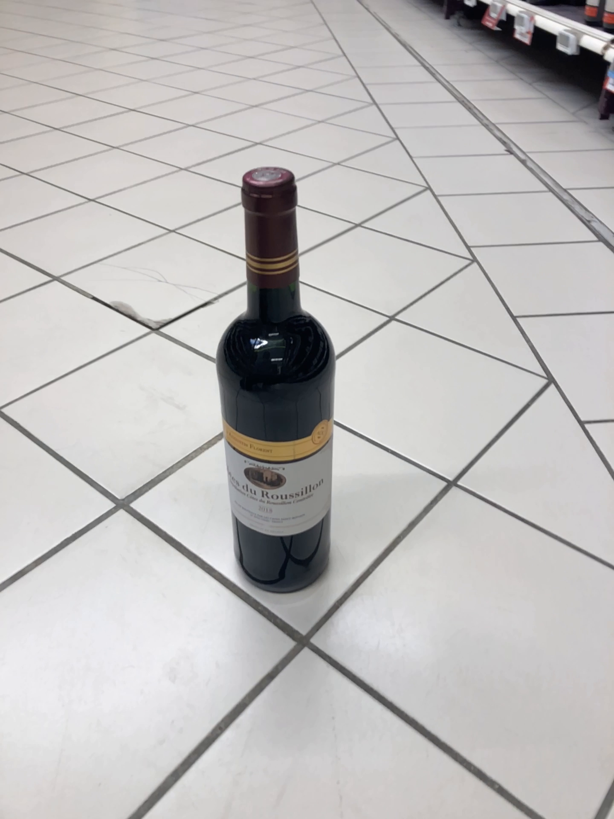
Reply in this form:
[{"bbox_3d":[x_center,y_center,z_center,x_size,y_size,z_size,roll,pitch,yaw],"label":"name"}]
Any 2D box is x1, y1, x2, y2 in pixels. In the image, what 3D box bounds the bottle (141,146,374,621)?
[{"bbox_3d":[-0.021,-0.002,0.429,0.090,0.288,0.091,0,38,0],"label":"bottle"}]
